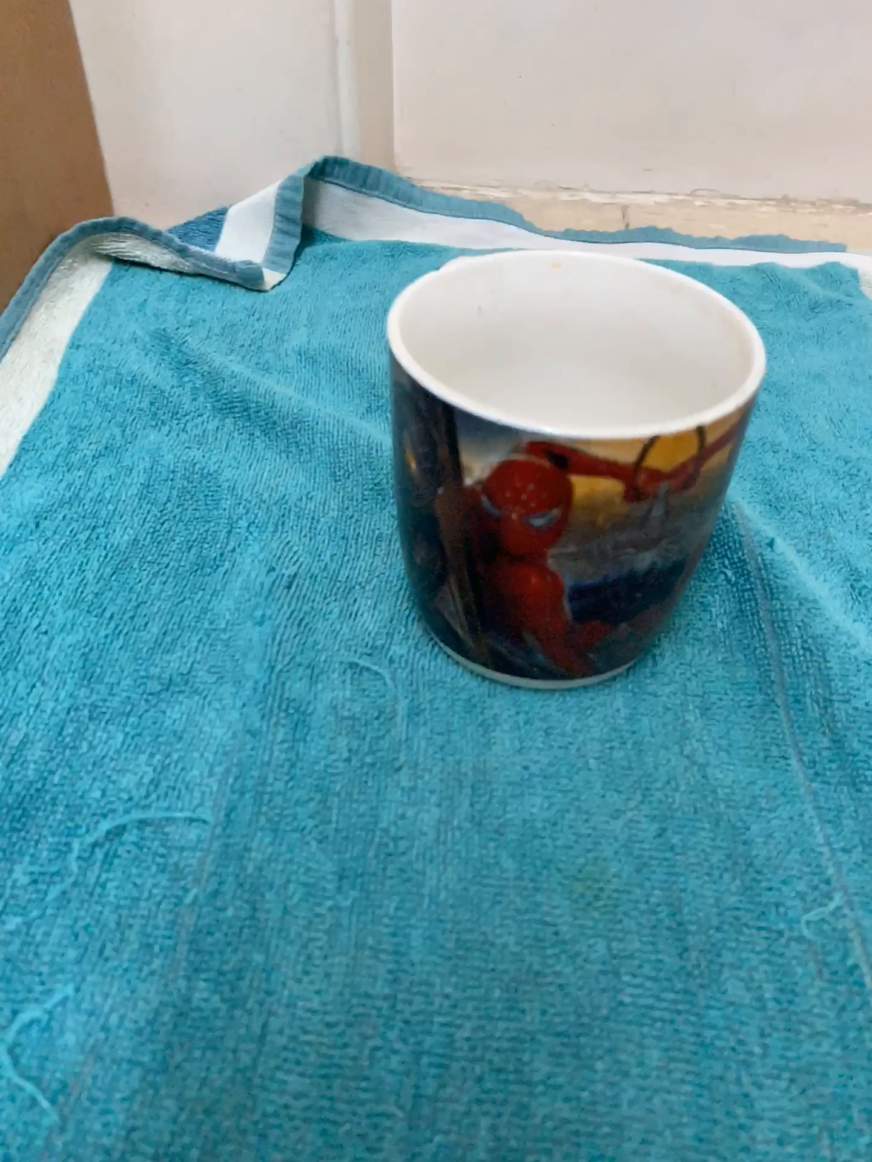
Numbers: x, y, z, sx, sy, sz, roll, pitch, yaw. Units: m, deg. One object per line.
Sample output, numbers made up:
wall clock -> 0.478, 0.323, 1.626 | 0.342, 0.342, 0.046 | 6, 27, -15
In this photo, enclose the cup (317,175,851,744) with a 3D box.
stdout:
cup -> 0.025, -0.040, 0.244 | 0.080, 0.089, 0.121 | -13, 44, -16
